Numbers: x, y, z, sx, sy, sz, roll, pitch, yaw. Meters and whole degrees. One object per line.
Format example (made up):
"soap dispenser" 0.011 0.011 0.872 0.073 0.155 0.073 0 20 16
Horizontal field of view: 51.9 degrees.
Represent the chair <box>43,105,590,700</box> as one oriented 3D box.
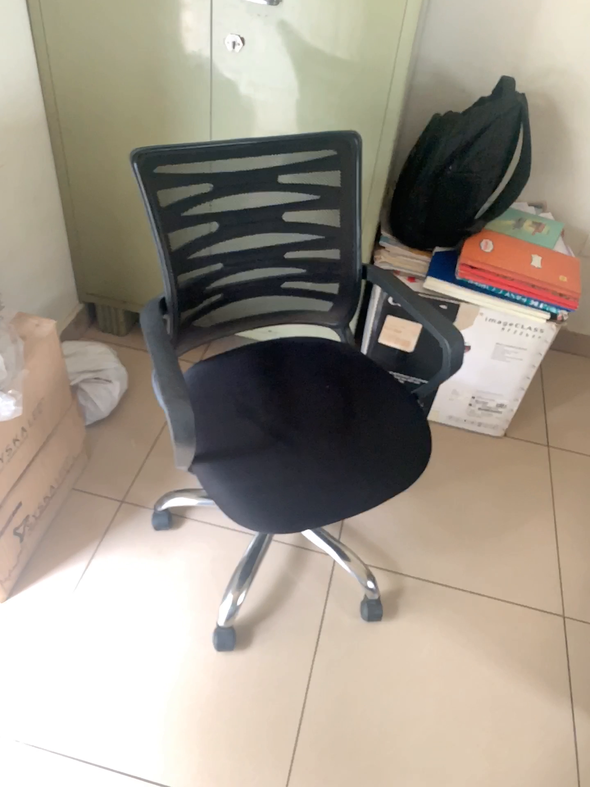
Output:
"chair" -0.039 0.024 1.340 0.681 0.996 0.652 -16 49 -23
